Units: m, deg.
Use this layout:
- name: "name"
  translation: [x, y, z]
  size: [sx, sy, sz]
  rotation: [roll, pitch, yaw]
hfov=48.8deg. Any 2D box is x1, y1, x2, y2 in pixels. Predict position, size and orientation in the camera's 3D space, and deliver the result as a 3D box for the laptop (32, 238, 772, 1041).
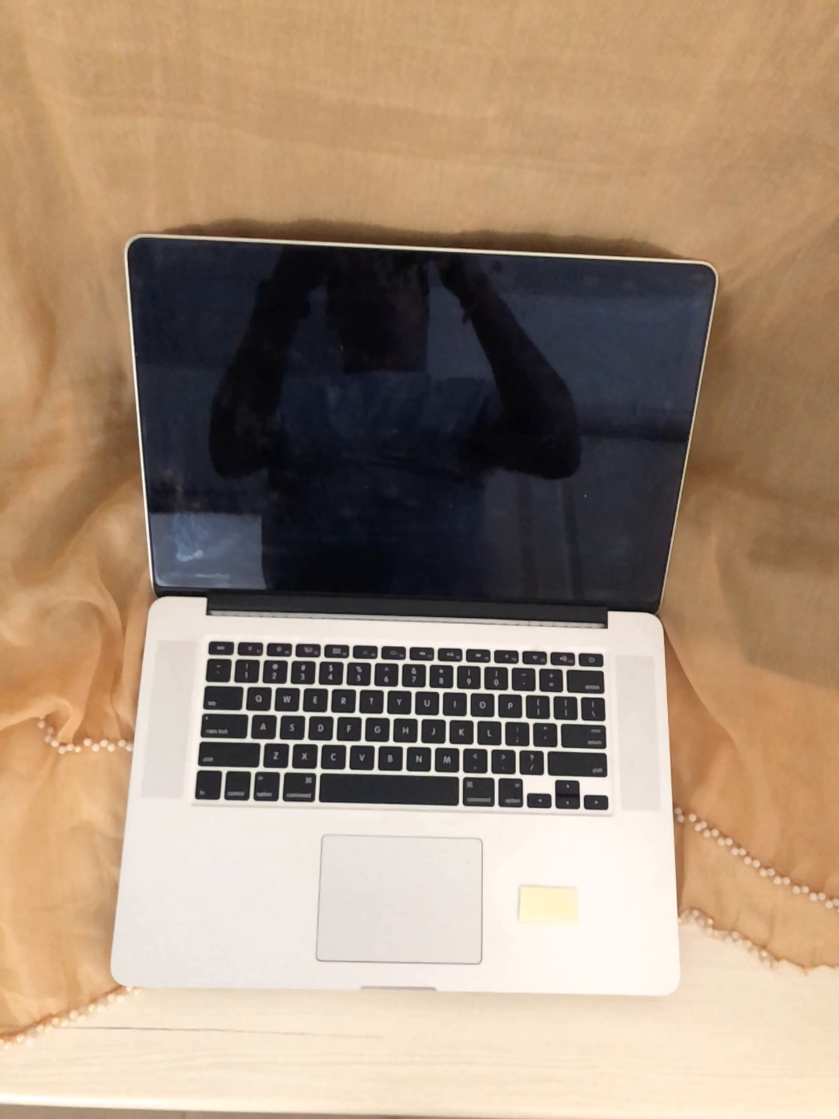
- name: "laptop"
  translation: [-0.003, 0.037, 0.538]
  size: [0.336, 0.135, 0.406]
  rotation: [2, 75, -2]
